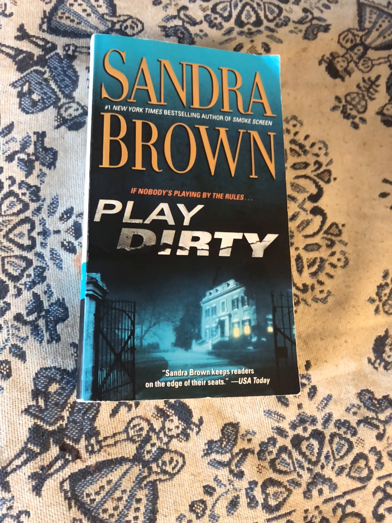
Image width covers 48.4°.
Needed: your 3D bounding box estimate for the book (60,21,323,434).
[{"bbox_3d":[-0.005,-0.018,0.215,0.110,0.040,0.180,1,79,-12],"label":"book"}]
